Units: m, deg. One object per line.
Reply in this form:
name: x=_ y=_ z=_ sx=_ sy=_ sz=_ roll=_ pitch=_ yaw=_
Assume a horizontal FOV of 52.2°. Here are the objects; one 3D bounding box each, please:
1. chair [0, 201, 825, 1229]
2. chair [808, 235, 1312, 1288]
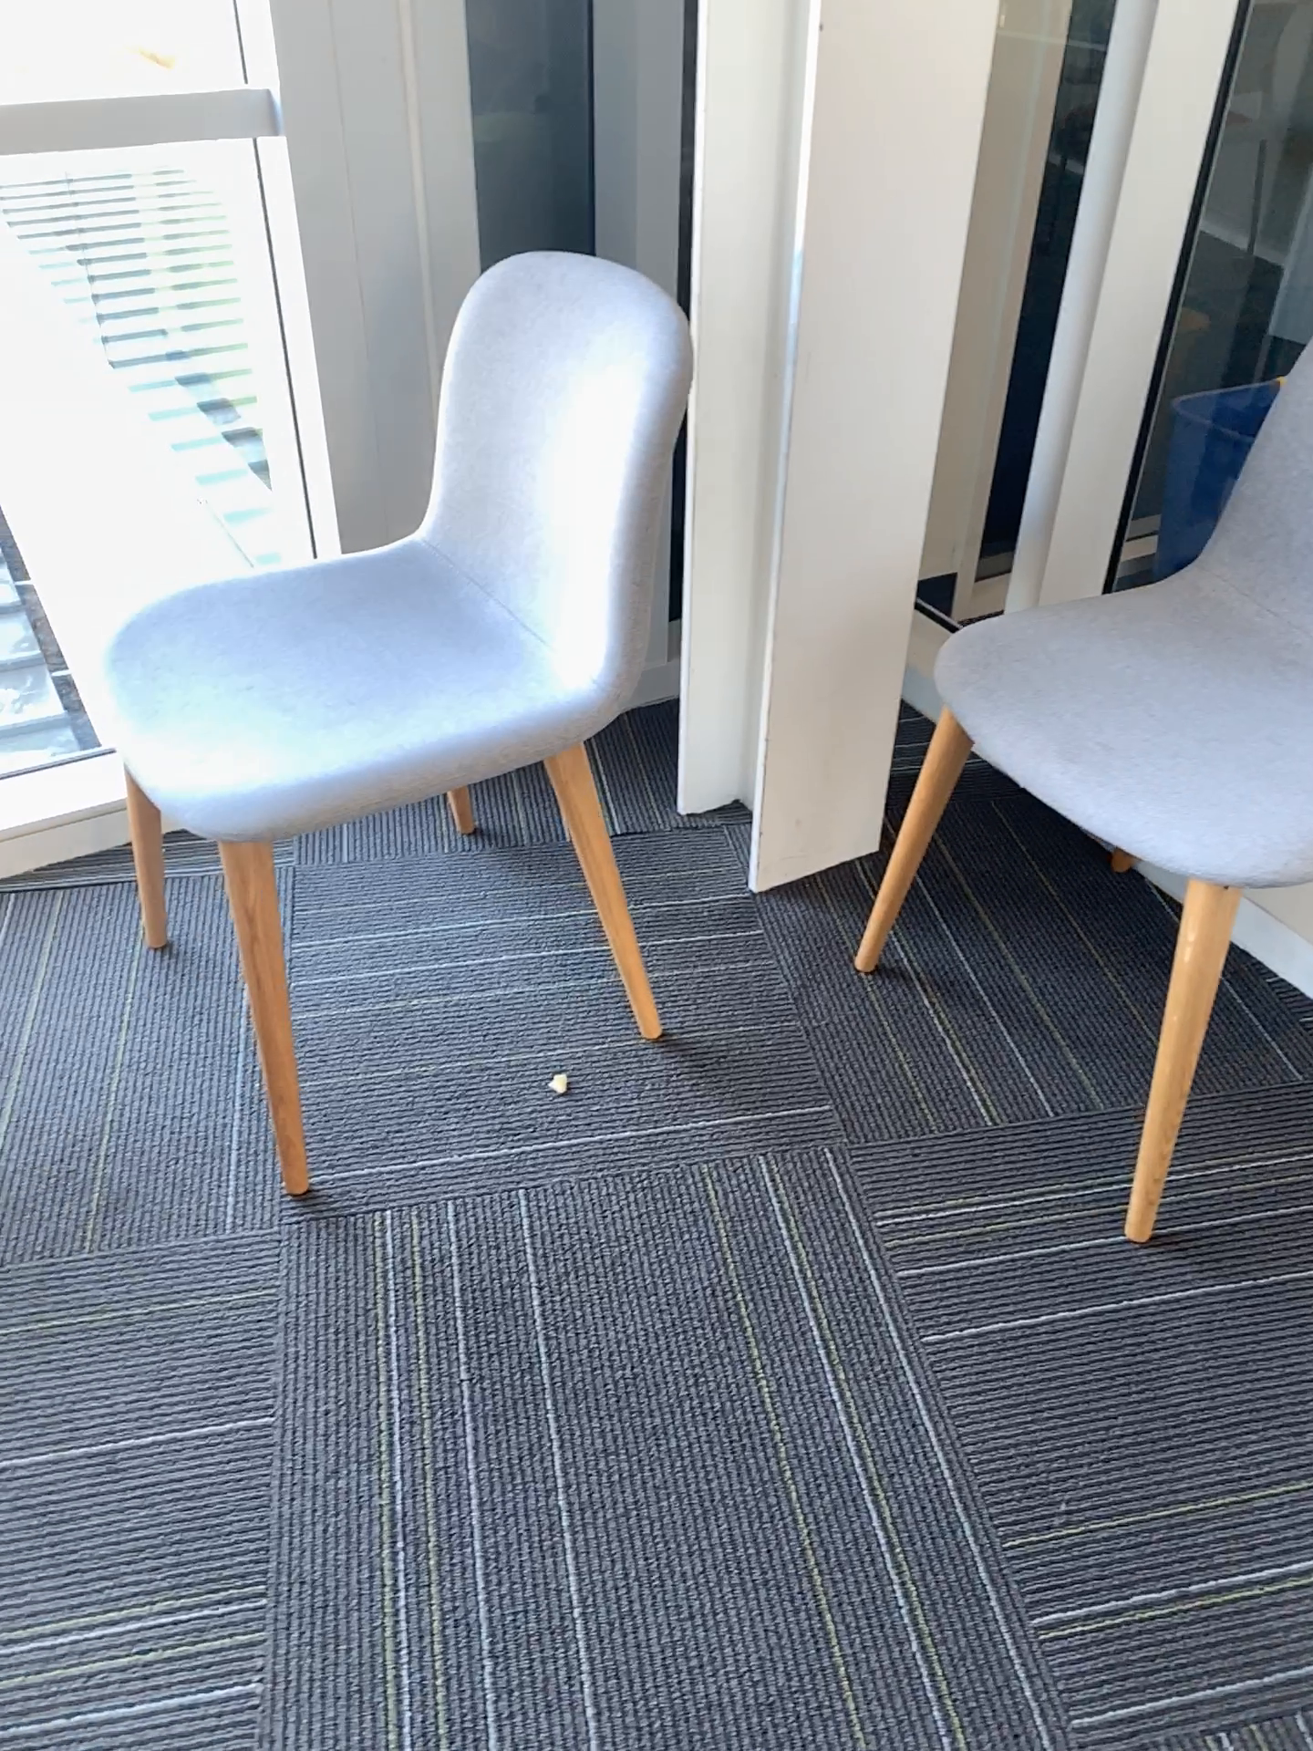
chair: x=-0.297 y=-0.218 z=1.406 sx=0.601 sy=0.726 sz=0.653 roll=-21 pitch=42 yaw=-26
chair: x=0.586 y=-0.150 z=1.324 sx=0.591 sy=0.726 sz=0.563 roll=-20 pitch=42 yaw=-25
